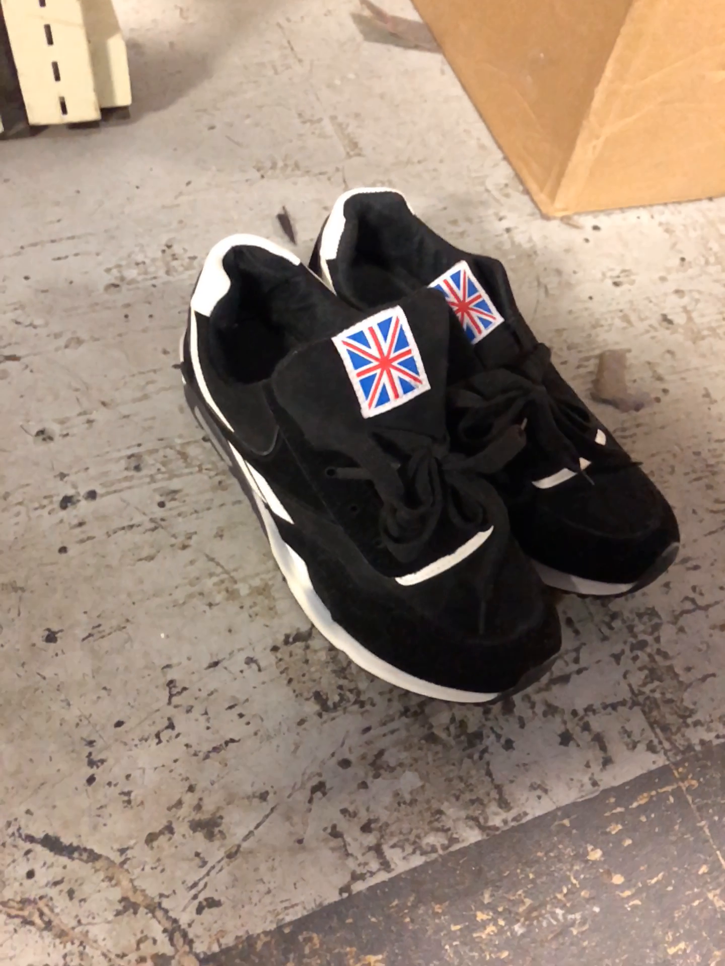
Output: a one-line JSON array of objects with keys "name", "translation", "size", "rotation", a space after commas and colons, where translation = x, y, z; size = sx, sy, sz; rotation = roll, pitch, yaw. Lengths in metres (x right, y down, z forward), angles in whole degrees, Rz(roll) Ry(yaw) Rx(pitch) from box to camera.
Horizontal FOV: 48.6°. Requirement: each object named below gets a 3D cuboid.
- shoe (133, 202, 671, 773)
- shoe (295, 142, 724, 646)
[{"name": "shoe", "translation": [0.002, -0.002, 0.383], "size": [0.100, 0.119, 0.231], "rotation": [-32, 67, -25]}, {"name": "shoe", "translation": [0.082, -0.055, 0.436], "size": [0.110, 0.109, 0.241], "rotation": [-32, 67, -25]}]
